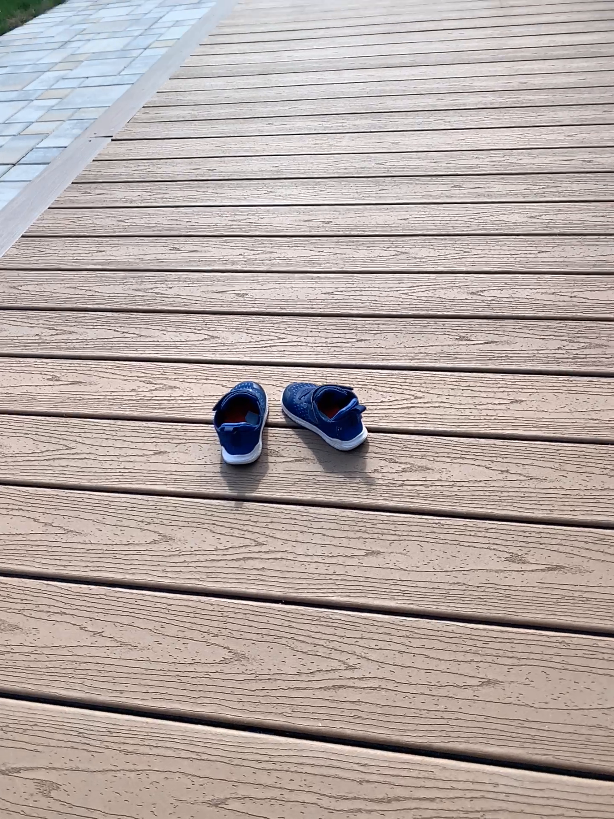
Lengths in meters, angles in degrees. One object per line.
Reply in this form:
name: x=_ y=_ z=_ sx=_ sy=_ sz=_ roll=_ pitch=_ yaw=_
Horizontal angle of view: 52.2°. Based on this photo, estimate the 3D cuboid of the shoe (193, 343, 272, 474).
shoe: x=-0.101 y=-0.005 z=0.895 sx=0.080 sy=0.090 sz=0.171 roll=-3 pitch=43 yaw=5

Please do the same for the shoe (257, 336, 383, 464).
shoe: x=0.019 y=-0.017 z=0.901 sx=0.080 sy=0.090 sz=0.171 roll=-35 pitch=49 yaw=-26
